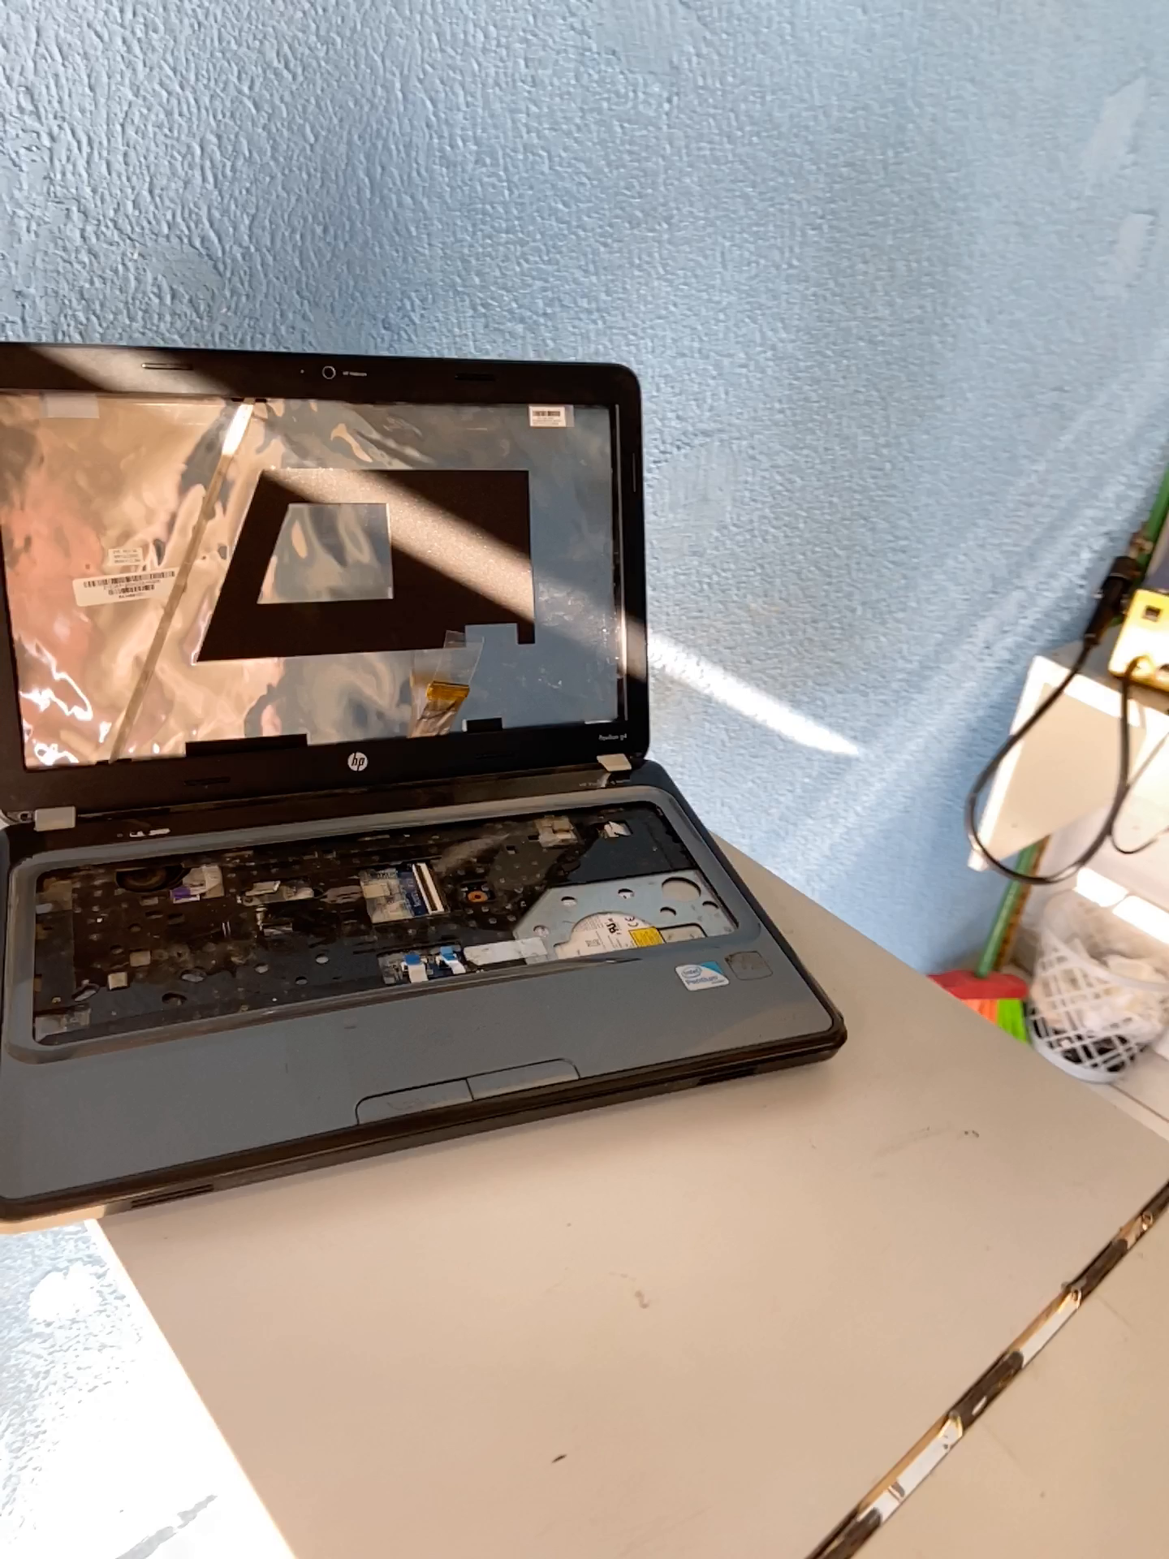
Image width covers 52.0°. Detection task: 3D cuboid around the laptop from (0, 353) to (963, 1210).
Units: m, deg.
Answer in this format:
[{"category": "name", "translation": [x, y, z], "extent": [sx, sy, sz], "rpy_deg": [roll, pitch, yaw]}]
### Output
[{"category": "laptop", "translation": [-0.087, -0.044, 0.535], "extent": [0.335, 0.194, 0.324], "rpy_deg": [-6, 34, -19]}]
